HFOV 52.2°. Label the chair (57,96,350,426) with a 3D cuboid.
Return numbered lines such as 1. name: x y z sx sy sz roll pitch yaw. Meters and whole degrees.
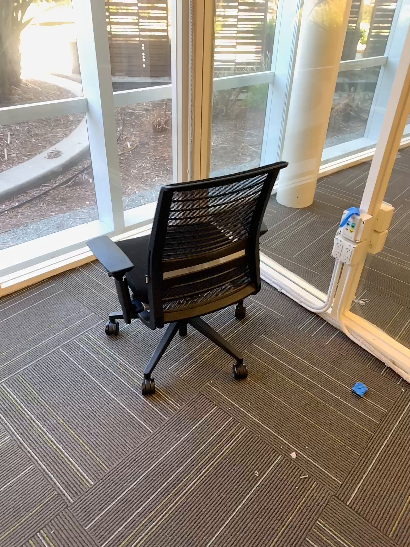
1. chair: -0.061 -0.106 1.634 0.701 0.894 0.734 -16 39 -24
